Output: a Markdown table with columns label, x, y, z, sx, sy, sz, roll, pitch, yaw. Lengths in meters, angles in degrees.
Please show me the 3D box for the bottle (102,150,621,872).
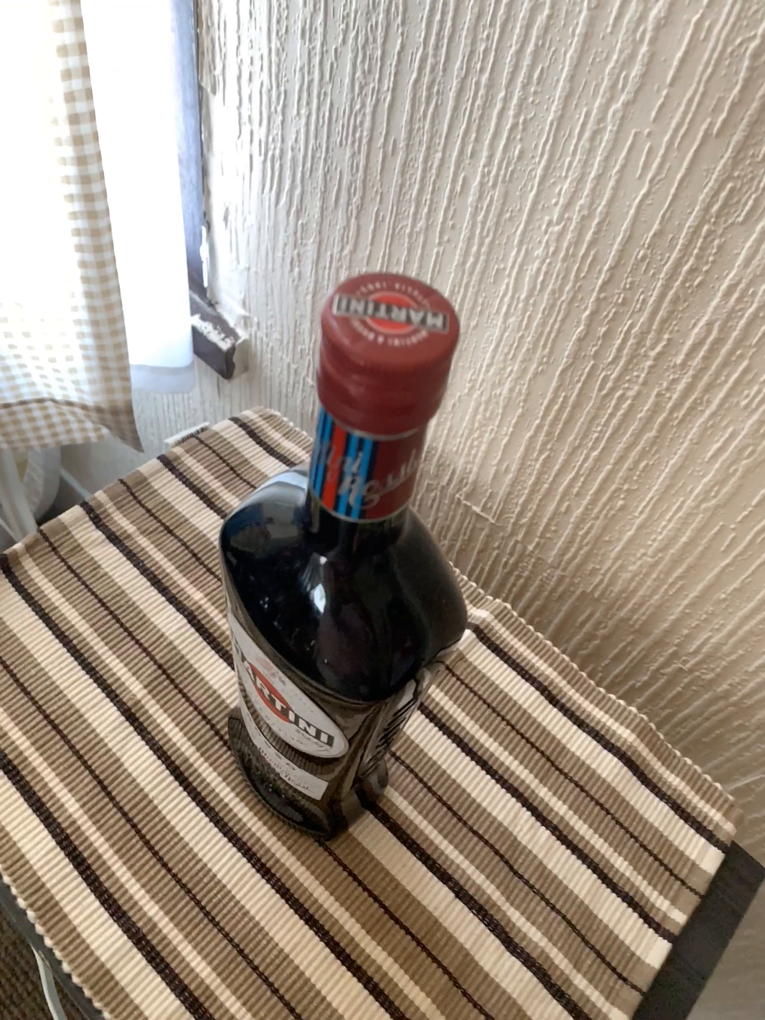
| label | x | y | z | sx | sy | sz | roll | pitch | yaw |
| --- | --- | --- | --- | --- | --- | --- | --- | --- | --- |
| bottle | -0.025 | 0.042 | 0.280 | 0.060 | 0.297 | 0.090 | -36 | 68 | -29 |
